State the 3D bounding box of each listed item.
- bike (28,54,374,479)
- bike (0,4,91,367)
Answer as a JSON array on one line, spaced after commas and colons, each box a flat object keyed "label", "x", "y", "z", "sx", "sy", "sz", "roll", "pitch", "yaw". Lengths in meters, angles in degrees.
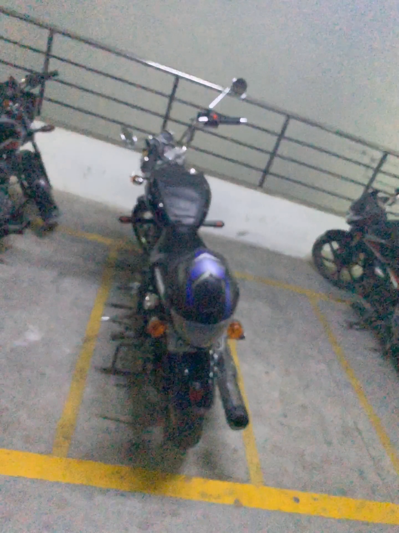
[{"label": "bike", "x": -0.281, "y": -0.128, "z": 2.114, "sx": 0.842, "sy": 1.303, "sz": 1.673, "roll": 10, "pitch": 28, "yaw": -23}, {"label": "bike", "x": -1.284, "y": -0.512, "z": 2.184, "sx": 0.593, "sy": 1.193, "sz": 1.510, "roll": 21, "pitch": 27, "yaw": 1}]
